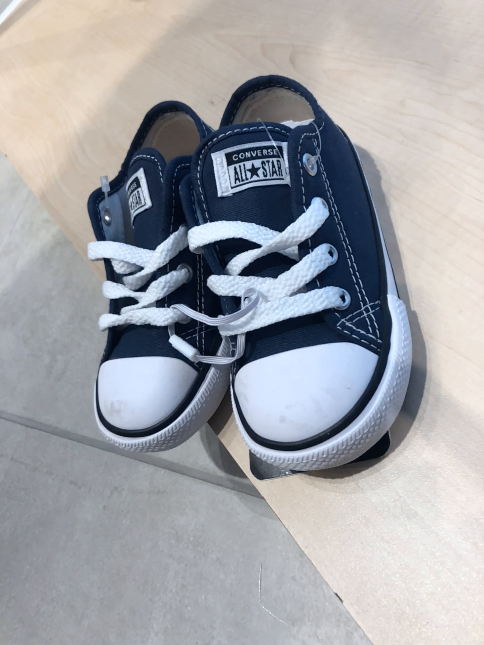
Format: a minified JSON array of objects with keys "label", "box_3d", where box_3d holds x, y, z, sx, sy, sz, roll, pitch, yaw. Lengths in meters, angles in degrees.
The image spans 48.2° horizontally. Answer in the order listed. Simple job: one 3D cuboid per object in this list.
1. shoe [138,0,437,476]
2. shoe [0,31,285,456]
[{"label":"shoe","box_3d":[0.017,-0.034,0.215,0.080,0.060,0.170,-13,61,27]},{"label":"shoe","box_3d":[-0.040,-0.034,0.247,0.080,0.060,0.170,-3,66,31]}]
